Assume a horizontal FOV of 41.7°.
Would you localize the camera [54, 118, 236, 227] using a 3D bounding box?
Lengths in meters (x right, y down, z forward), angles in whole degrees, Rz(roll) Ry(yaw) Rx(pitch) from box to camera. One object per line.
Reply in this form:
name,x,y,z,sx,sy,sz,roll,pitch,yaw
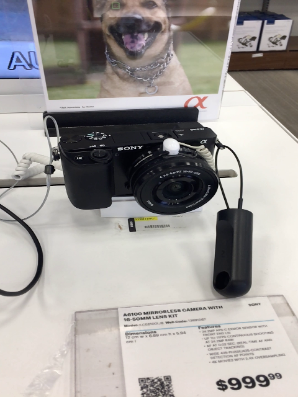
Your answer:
camera,-0.008,-0.026,0.359,0.141,0.064,0.076,-6,39,-8
